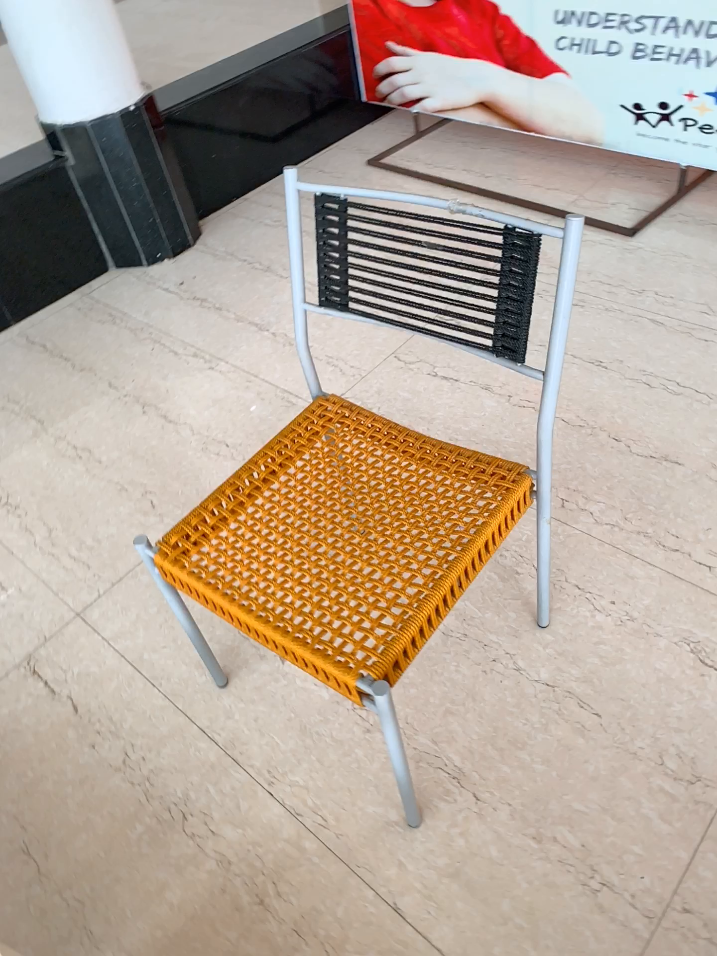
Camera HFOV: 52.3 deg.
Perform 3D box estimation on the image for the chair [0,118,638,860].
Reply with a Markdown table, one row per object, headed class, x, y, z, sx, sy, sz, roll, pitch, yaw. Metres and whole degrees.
| class | x | y | z | sx | sy | sz | roll | pitch | yaw |
| --- | --- | --- | --- | --- | --- | --- | --- | --- | --- |
| chair | -0.005 | 0.023 | 1.051 | 0.522 | 0.803 | 0.512 | 25 | 55 | 32 |
